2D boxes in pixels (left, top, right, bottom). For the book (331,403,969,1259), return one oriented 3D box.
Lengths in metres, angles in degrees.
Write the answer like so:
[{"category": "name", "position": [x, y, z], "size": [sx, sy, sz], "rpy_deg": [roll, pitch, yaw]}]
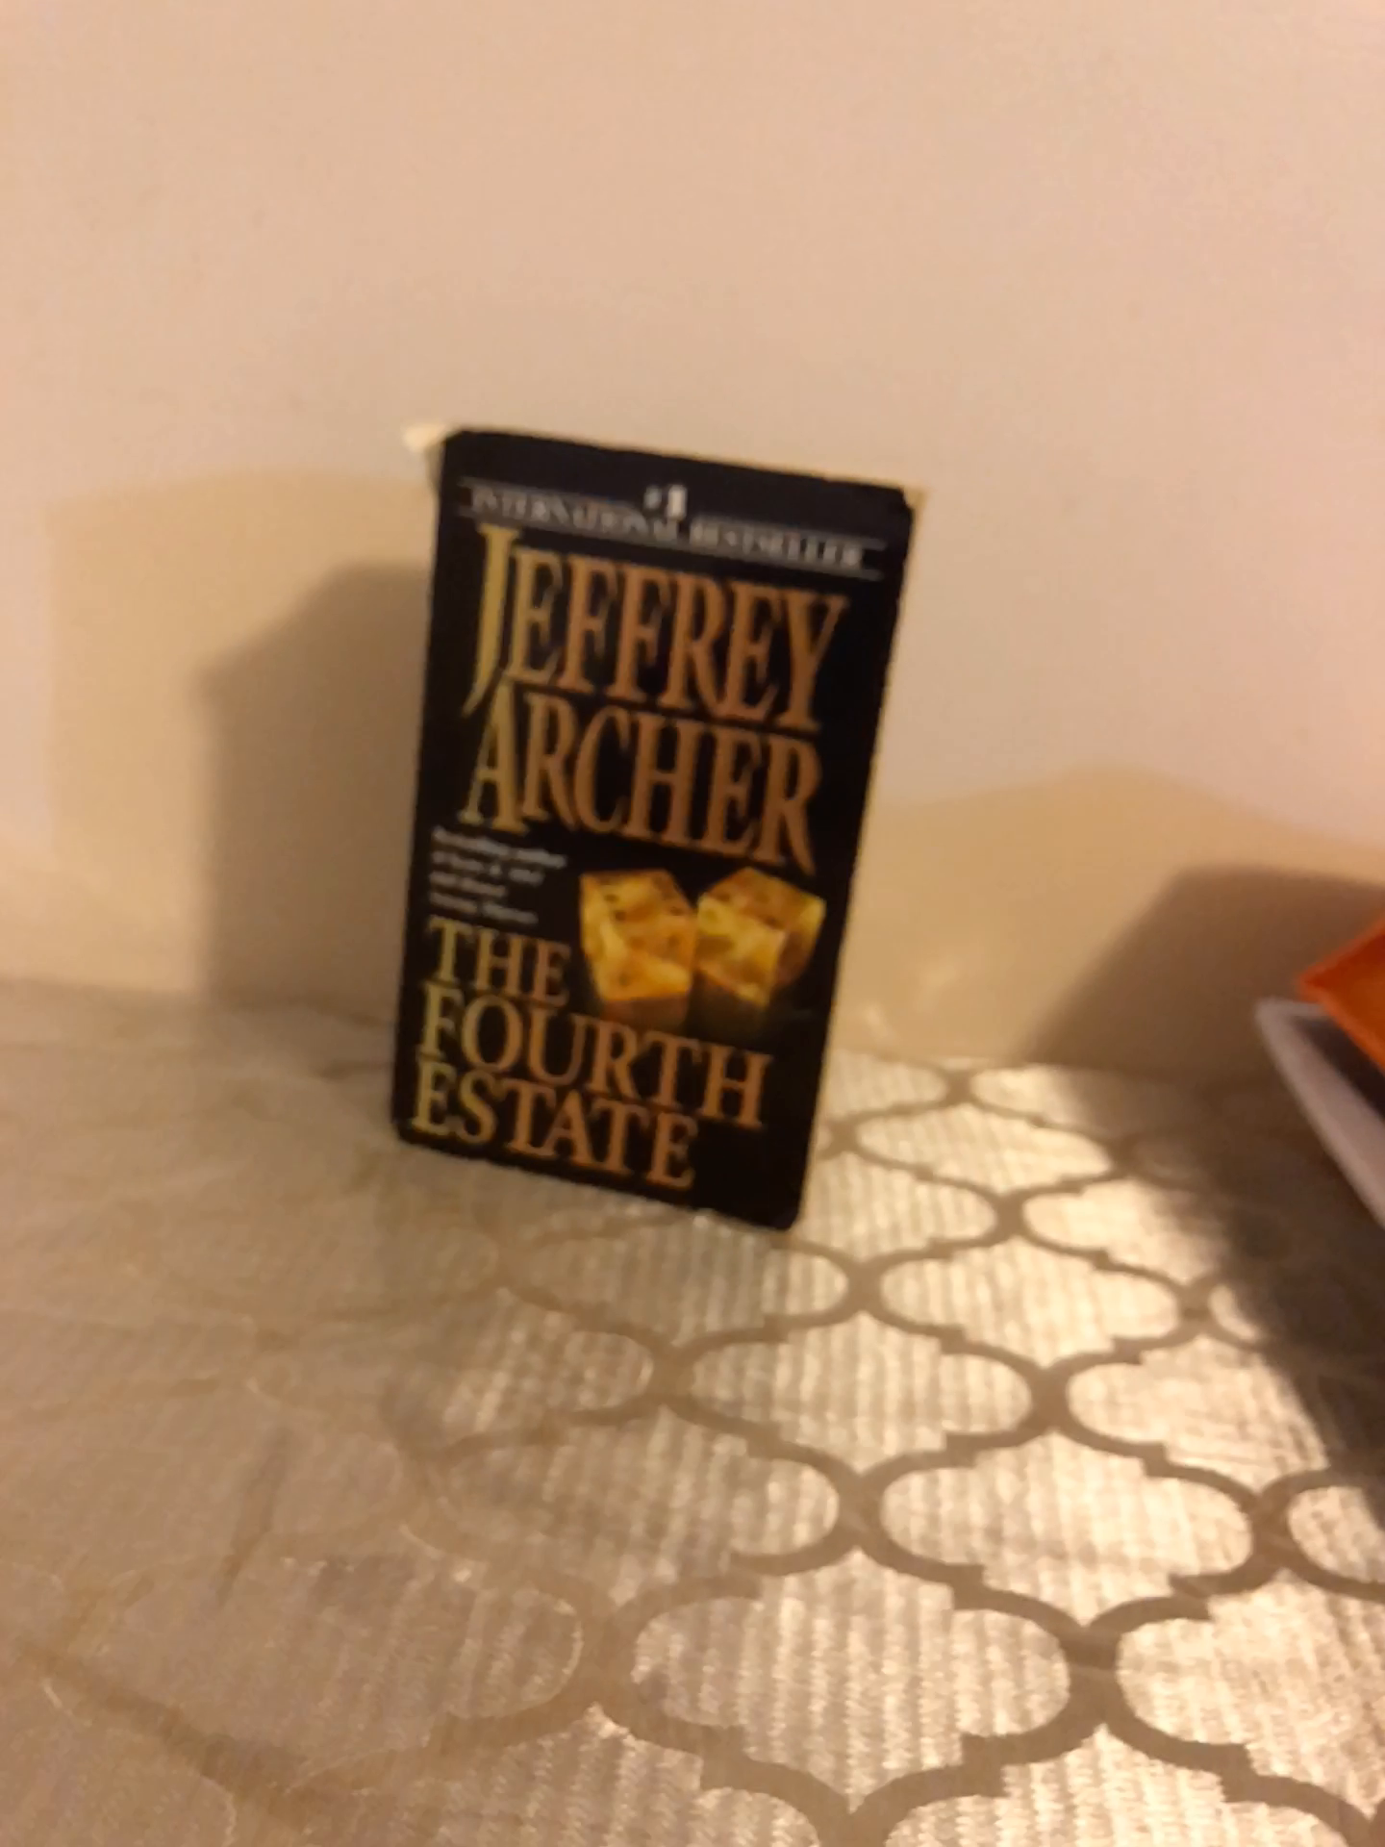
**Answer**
[{"category": "book", "position": [-0.011, -0.024, 0.366], "size": [0.120, 0.169, 0.060], "rpy_deg": [10, 16, 12]}]
